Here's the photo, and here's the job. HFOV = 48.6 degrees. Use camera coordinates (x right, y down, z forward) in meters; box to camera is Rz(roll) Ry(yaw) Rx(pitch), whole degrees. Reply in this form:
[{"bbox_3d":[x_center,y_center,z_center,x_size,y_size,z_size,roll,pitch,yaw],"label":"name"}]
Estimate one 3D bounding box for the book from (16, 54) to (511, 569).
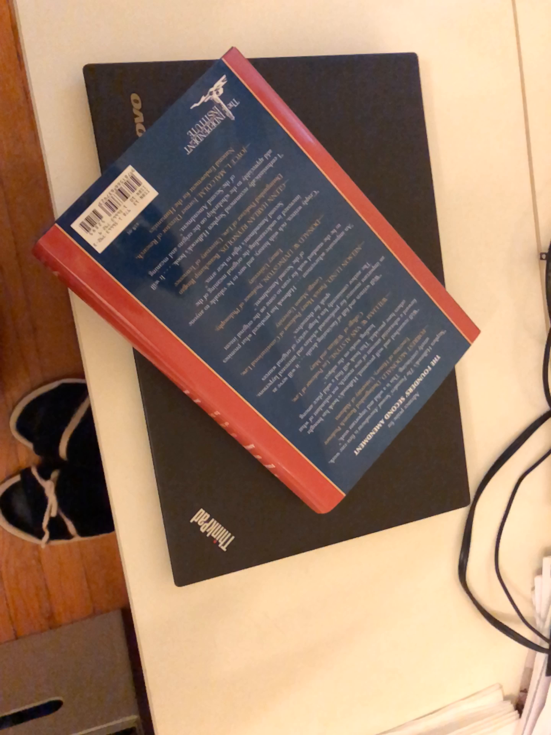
[{"bbox_3d":[0.005,-0.027,0.363,0.240,0.040,0.170,45,78,-13],"label":"book"}]
